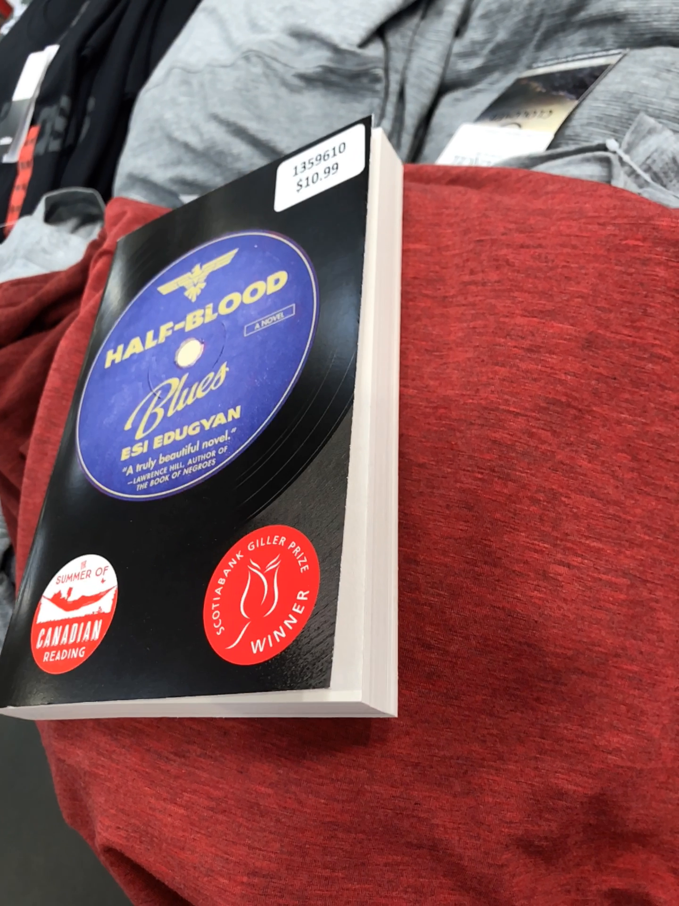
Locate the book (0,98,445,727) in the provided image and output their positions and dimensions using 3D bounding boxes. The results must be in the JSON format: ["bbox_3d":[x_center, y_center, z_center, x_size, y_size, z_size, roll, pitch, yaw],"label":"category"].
[{"bbox_3d":[-0.038,-0.020,0.274,0.146,0.025,0.220,-10,57,27],"label":"book"}]
